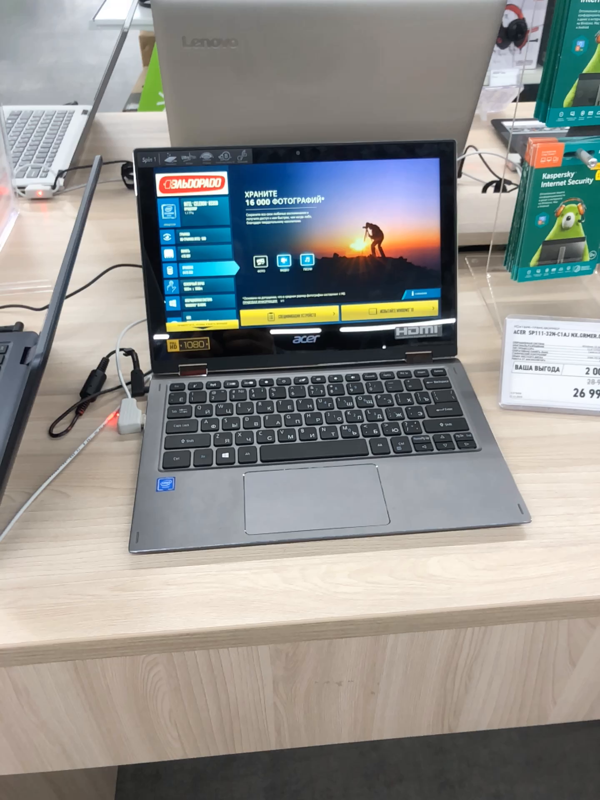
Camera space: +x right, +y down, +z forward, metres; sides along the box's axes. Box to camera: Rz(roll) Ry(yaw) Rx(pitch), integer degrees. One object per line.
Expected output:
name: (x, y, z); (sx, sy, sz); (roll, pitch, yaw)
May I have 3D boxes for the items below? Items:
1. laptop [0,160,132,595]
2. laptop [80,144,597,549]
laptop: (-0.297, -0.036, 0.491); (0.287, 0.174, 0.276); (-4, 41, -5)
laptop: (0.011, -0.065, 0.535); (0.287, 0.168, 0.304); (-4, 40, -4)
